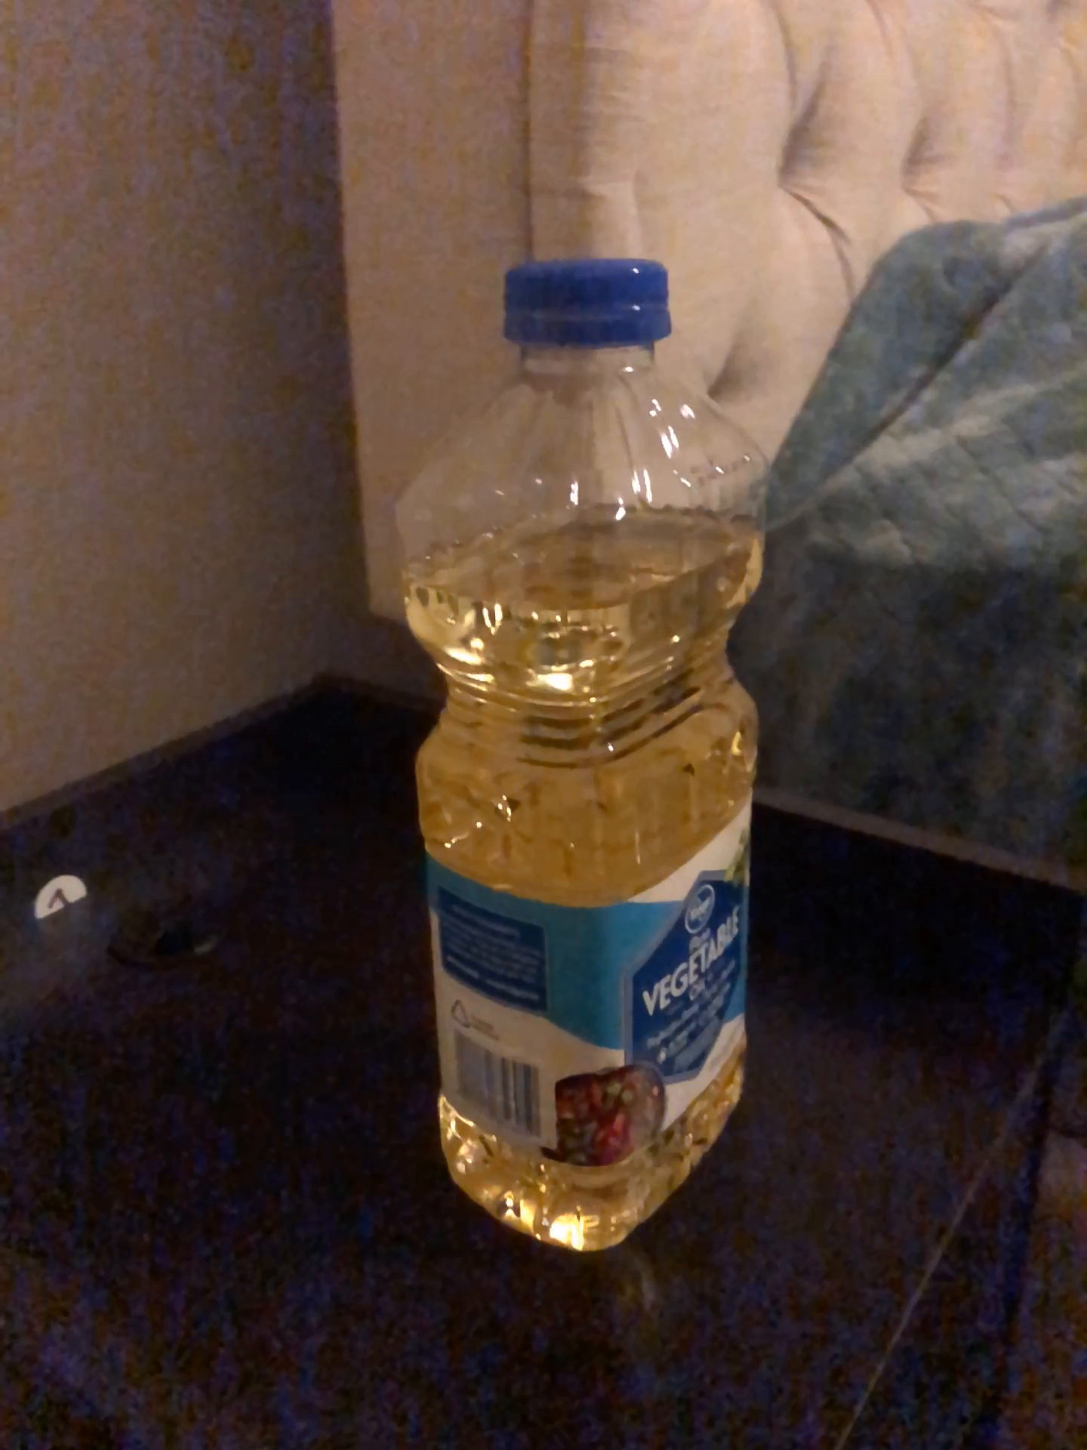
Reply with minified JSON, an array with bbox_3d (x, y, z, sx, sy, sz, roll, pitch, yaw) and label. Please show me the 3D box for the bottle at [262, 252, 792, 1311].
[{"bbox_3d":[0.004,0.012,0.353,0.083,0.276,0.110,14,27,33],"label":"bottle"}]
